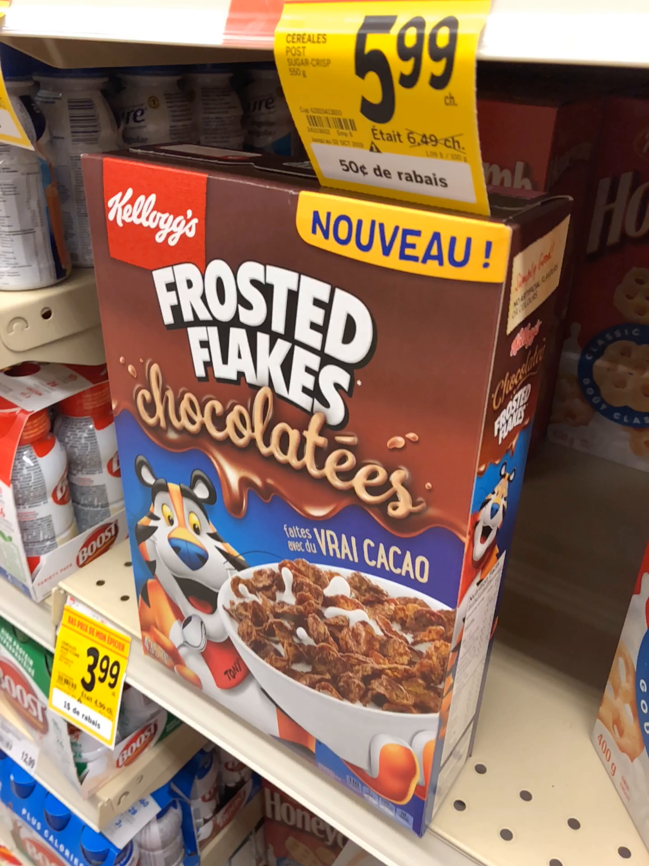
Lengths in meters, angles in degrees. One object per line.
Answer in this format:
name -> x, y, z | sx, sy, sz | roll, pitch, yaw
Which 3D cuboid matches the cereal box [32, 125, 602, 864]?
cereal box -> -0.019, 0.021, 0.330 | 0.211, 0.278, 0.070 | 21, 34, 31
